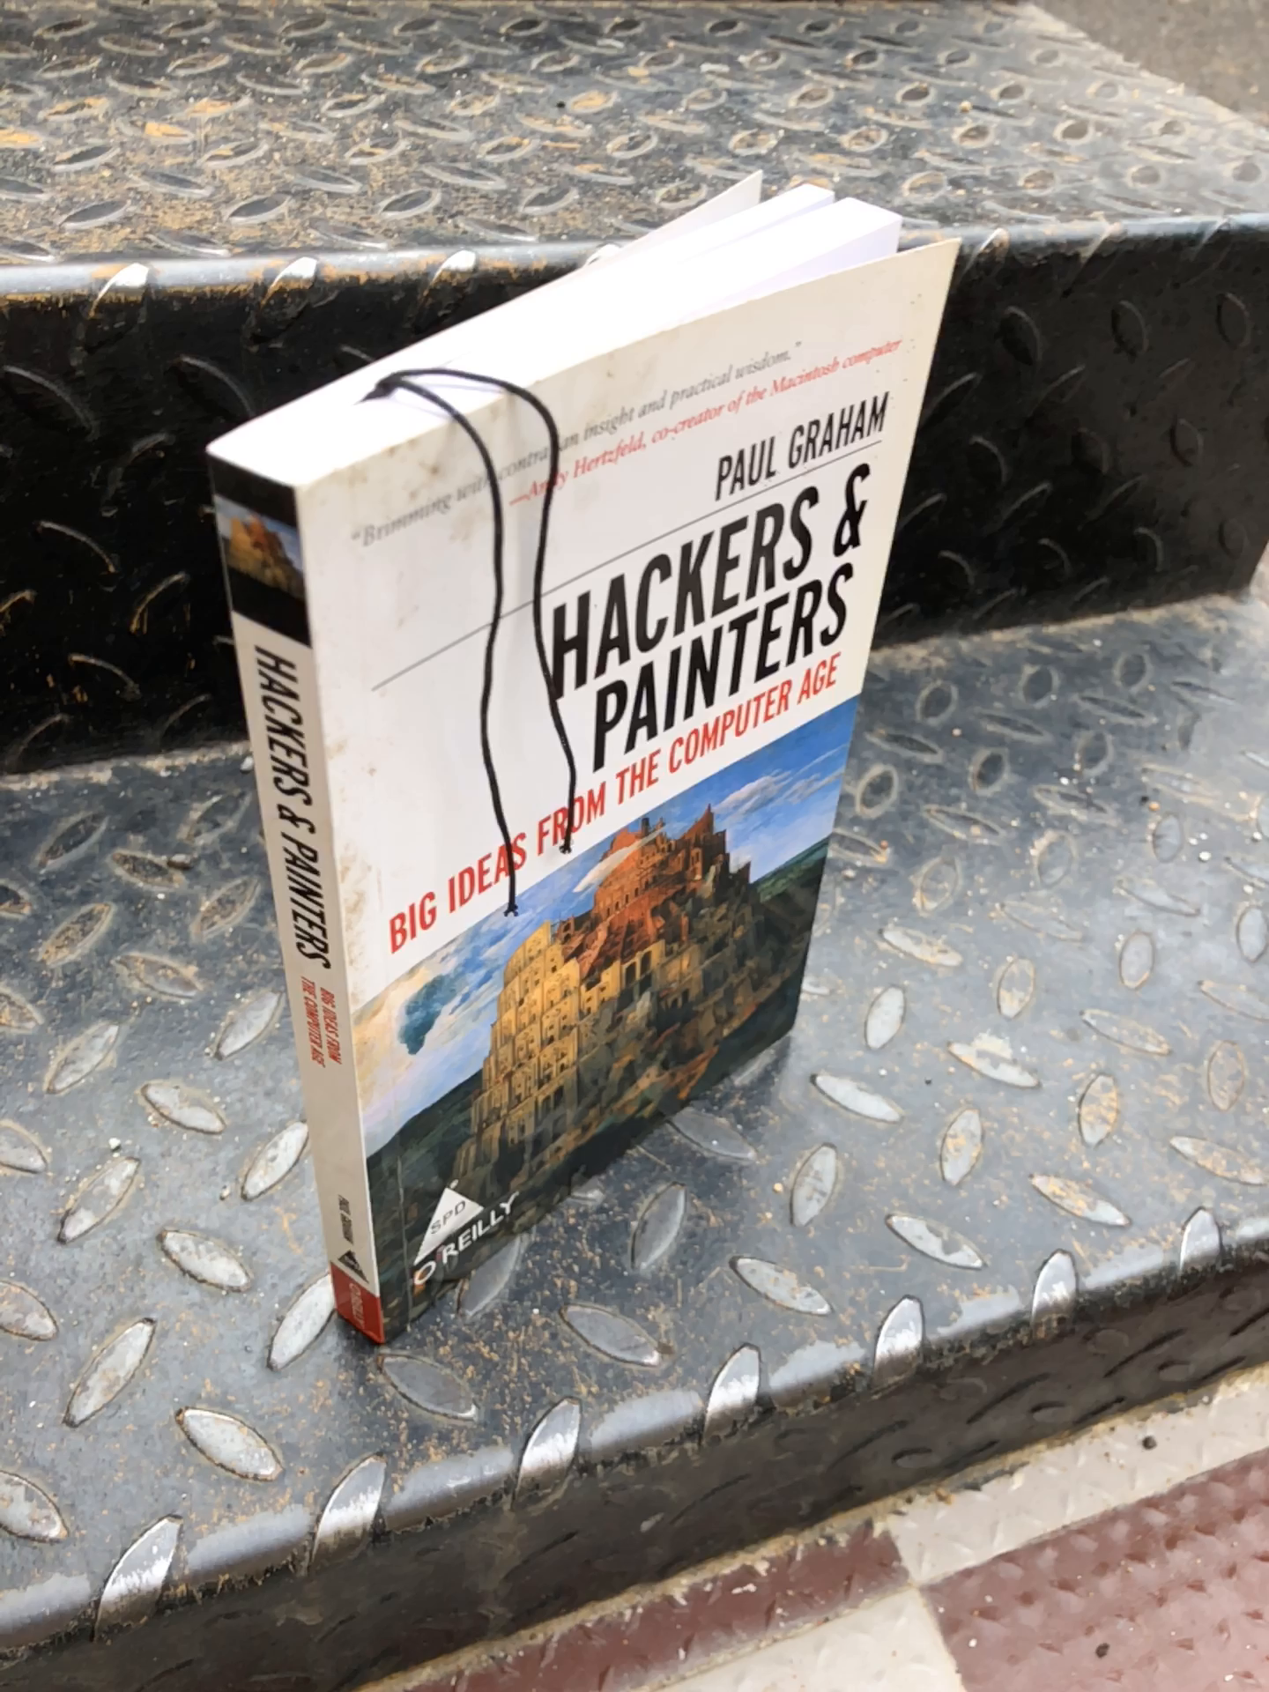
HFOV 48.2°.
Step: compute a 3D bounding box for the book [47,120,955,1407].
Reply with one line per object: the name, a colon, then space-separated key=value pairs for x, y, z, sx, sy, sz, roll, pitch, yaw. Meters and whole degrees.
book: x=-0.010 y=-0.008 z=0.290 sx=0.030 sy=0.219 sz=0.171 roll=30 pitch=50 yaw=25
